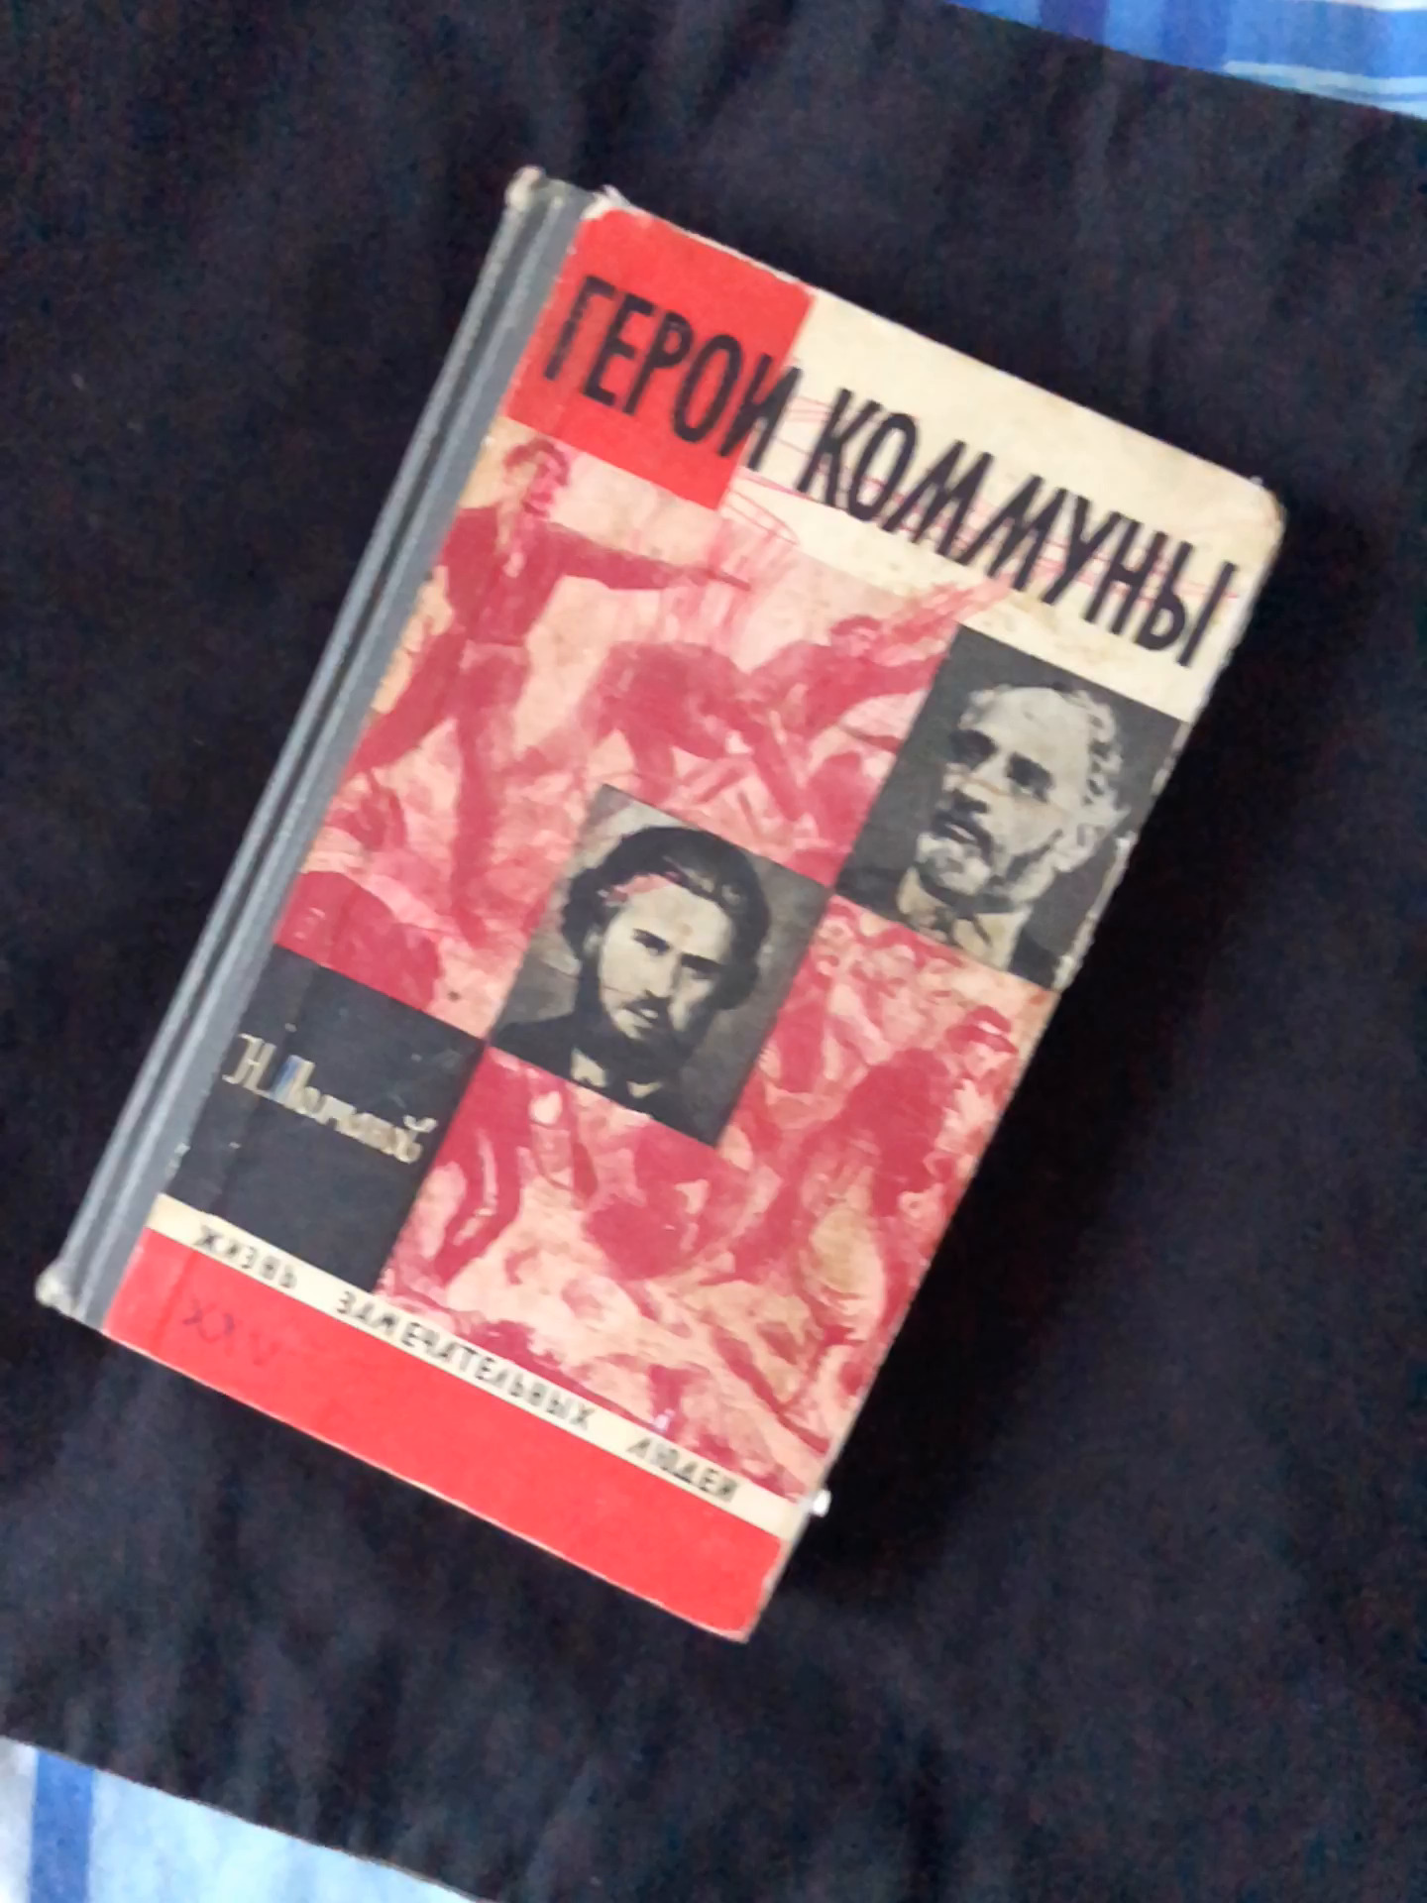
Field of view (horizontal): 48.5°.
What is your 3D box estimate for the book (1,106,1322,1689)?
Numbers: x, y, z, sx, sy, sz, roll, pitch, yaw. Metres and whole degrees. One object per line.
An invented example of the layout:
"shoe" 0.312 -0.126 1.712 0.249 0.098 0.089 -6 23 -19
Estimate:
"book" -0.010 -0.007 0.265 0.127 0.060 0.200 24 95 4
